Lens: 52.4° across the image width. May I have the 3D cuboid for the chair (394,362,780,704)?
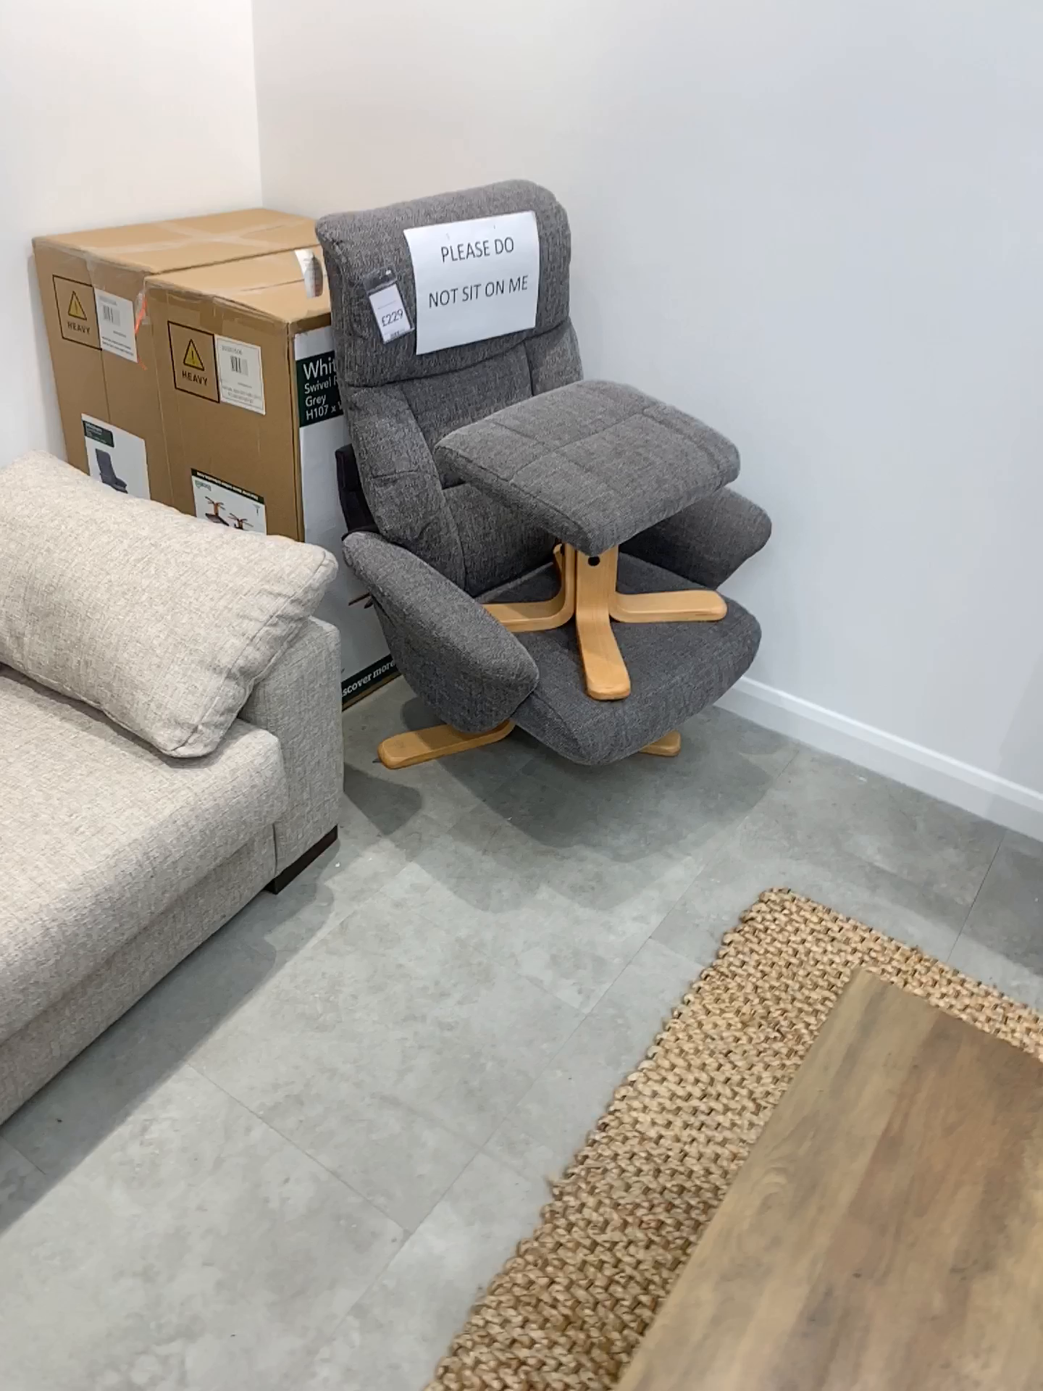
[{"bbox_3d":[0.108,-0.320,1.893,0.447,0.352,0.499,28,40,31],"label":"chair"}]

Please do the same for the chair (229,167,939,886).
[{"bbox_3d":[0.098,-0.395,1.955,0.788,0.897,0.871,28,40,31],"label":"chair"}]
